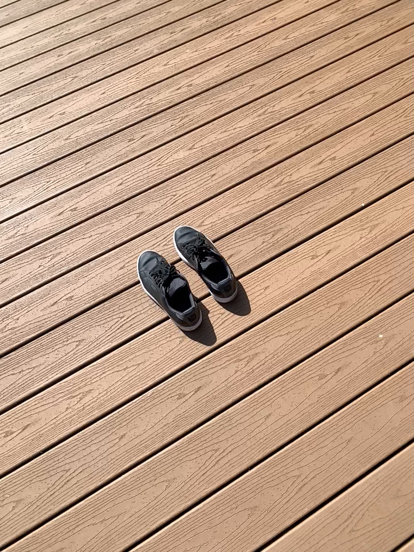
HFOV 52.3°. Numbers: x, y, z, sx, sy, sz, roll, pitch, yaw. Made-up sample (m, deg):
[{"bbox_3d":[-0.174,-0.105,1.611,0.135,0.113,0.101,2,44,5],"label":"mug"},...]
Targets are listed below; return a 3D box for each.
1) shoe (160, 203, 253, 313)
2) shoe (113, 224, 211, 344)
[{"bbox_3d":[-0.004,-0.053,1.165,0.110,0.104,0.281,-33,65,-11],"label":"shoe"},{"bbox_3d":[-0.123,0.018,1.146,0.112,0.107,0.301,-33,65,-11],"label":"shoe"}]
